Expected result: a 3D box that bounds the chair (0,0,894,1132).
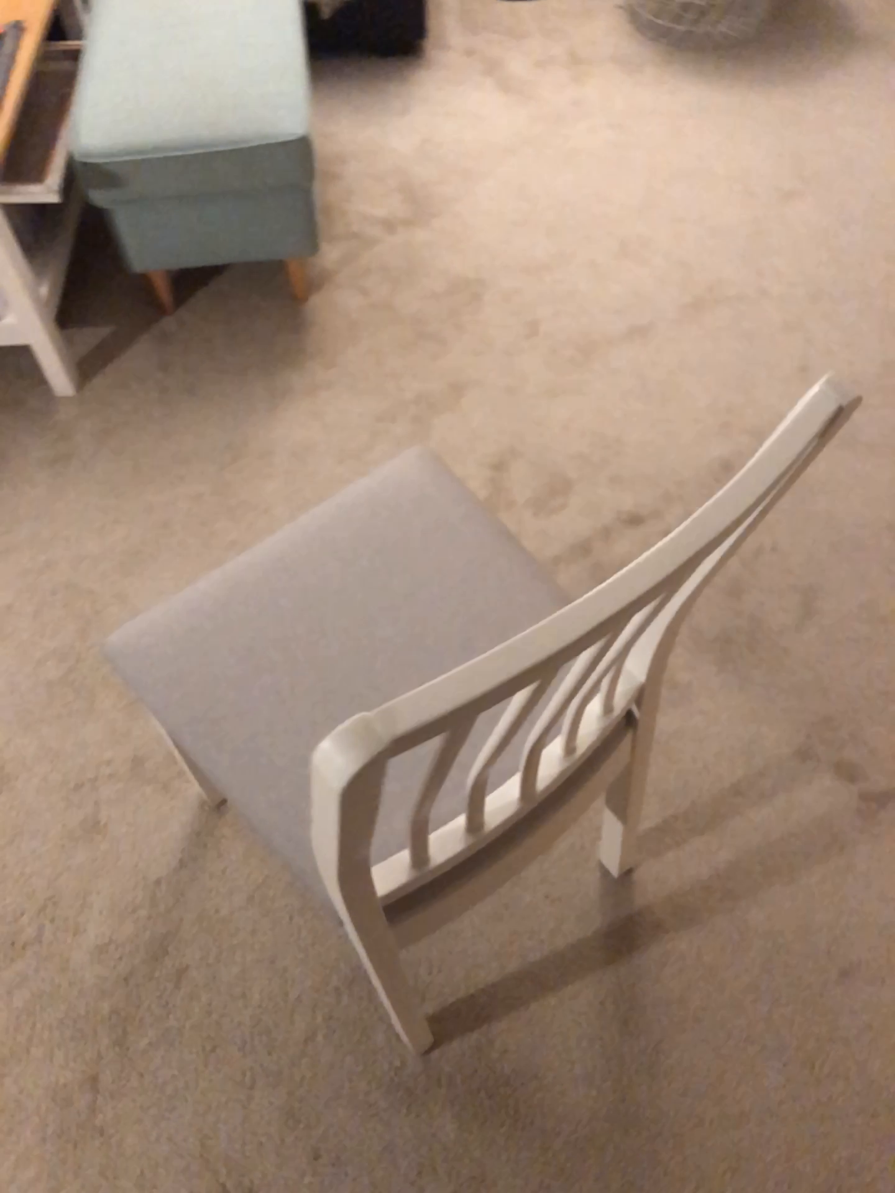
[{"bbox_3d":[-0.075,0.067,0.977,0.501,0.906,0.551,-33,62,-18],"label":"chair"}]
